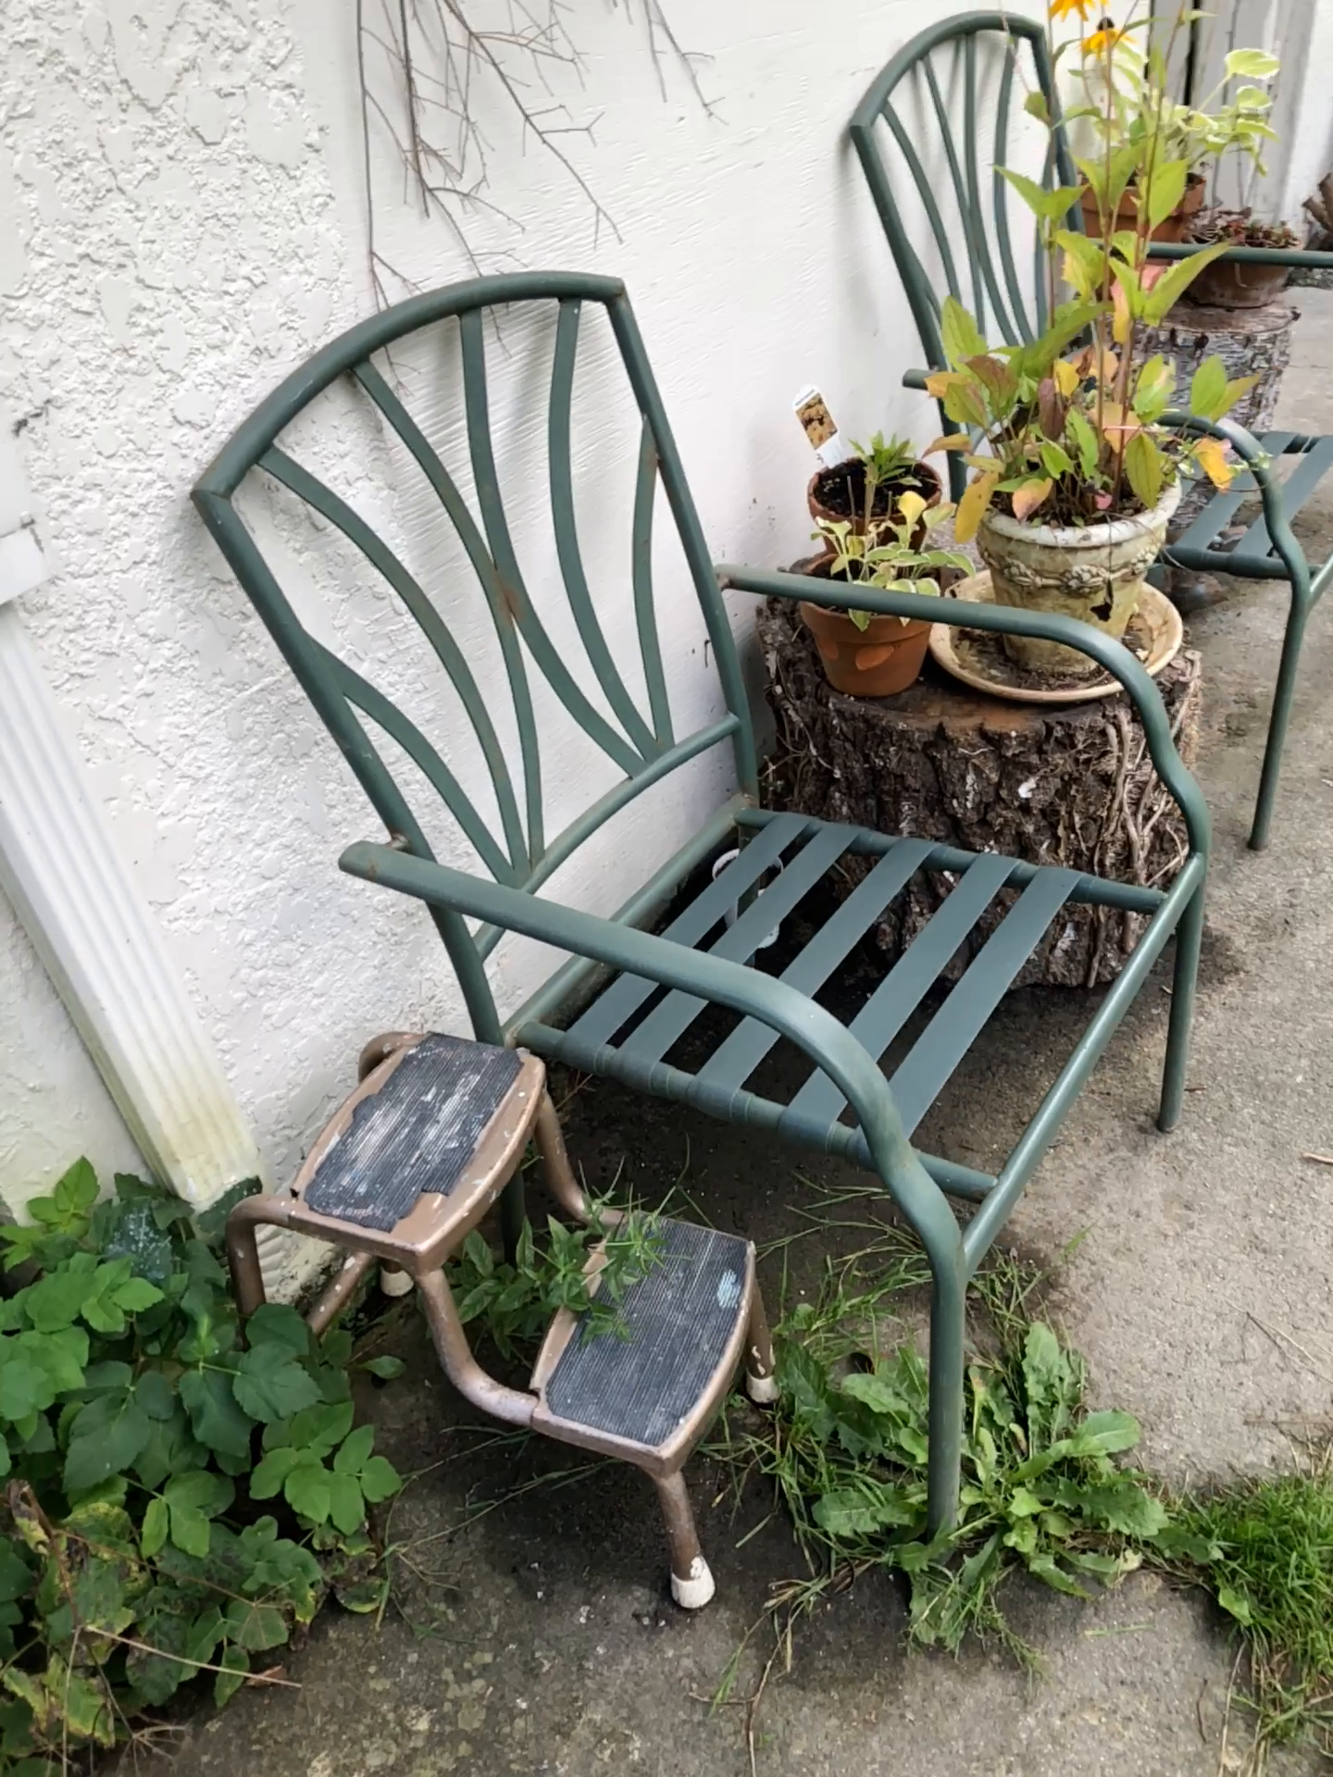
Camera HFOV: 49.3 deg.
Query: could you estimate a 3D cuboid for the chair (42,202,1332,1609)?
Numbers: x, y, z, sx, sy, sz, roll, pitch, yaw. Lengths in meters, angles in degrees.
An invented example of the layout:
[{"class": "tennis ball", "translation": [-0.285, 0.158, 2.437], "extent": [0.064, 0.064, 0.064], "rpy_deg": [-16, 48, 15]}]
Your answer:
[{"class": "chair", "translation": [0.073, -0.025, 1.286], "extent": [0.682, 0.904, 0.623], "rpy_deg": [18, 44, 28]}]
